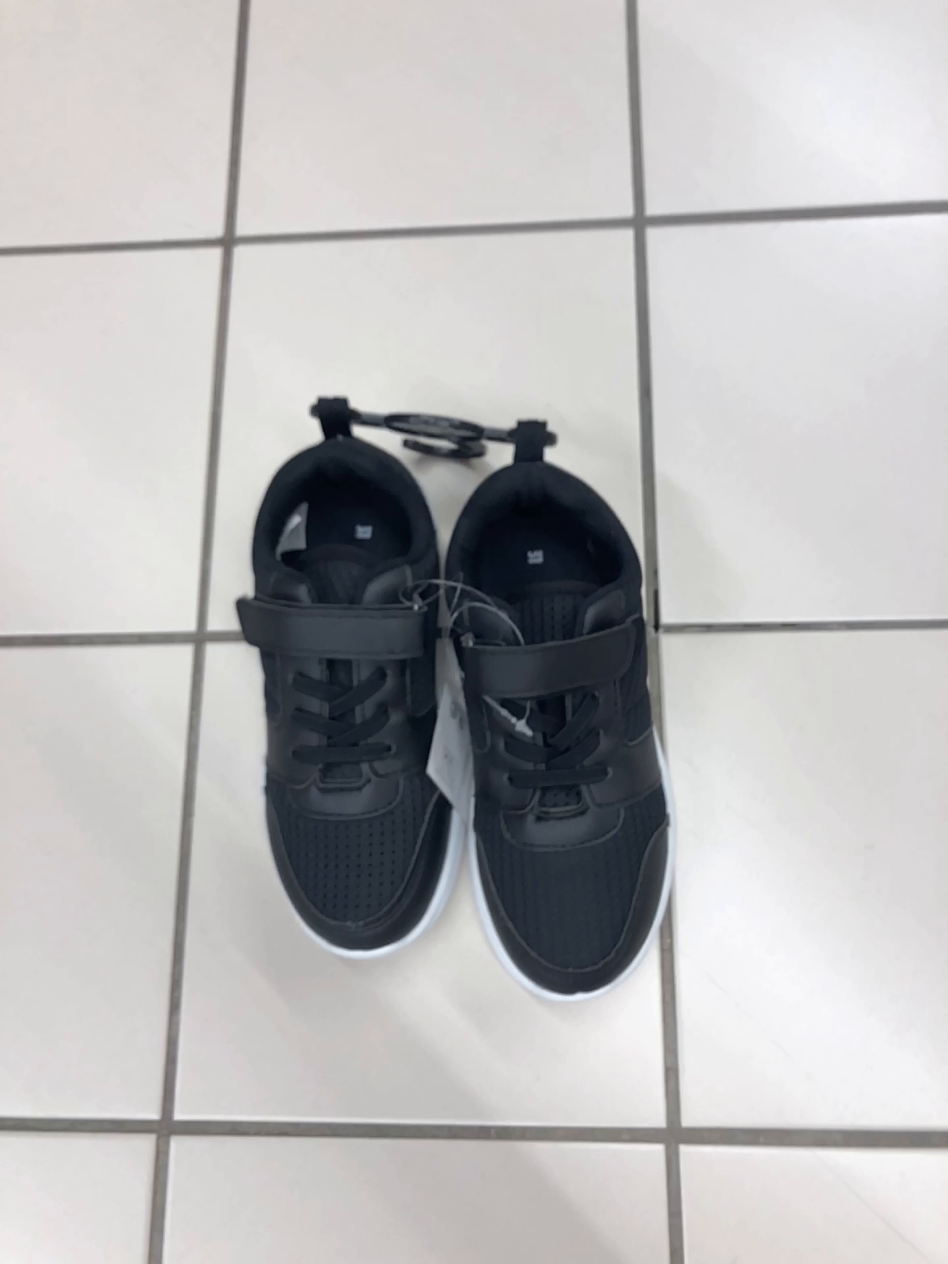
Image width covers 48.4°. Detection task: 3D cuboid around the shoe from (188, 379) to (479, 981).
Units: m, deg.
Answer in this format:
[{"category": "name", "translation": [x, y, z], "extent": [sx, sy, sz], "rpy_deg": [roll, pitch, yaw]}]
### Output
[{"category": "shoe", "translation": [-0.055, 0.019, 0.424], "extent": [0.097, 0.064, 0.222], "rpy_deg": [-4, 75, 3]}]

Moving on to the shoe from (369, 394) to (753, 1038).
[{"category": "shoe", "translation": [0.029, 0.030, 0.414], "extent": [0.097, 0.064, 0.222], "rpy_deg": [-11, 75, 2]}]
